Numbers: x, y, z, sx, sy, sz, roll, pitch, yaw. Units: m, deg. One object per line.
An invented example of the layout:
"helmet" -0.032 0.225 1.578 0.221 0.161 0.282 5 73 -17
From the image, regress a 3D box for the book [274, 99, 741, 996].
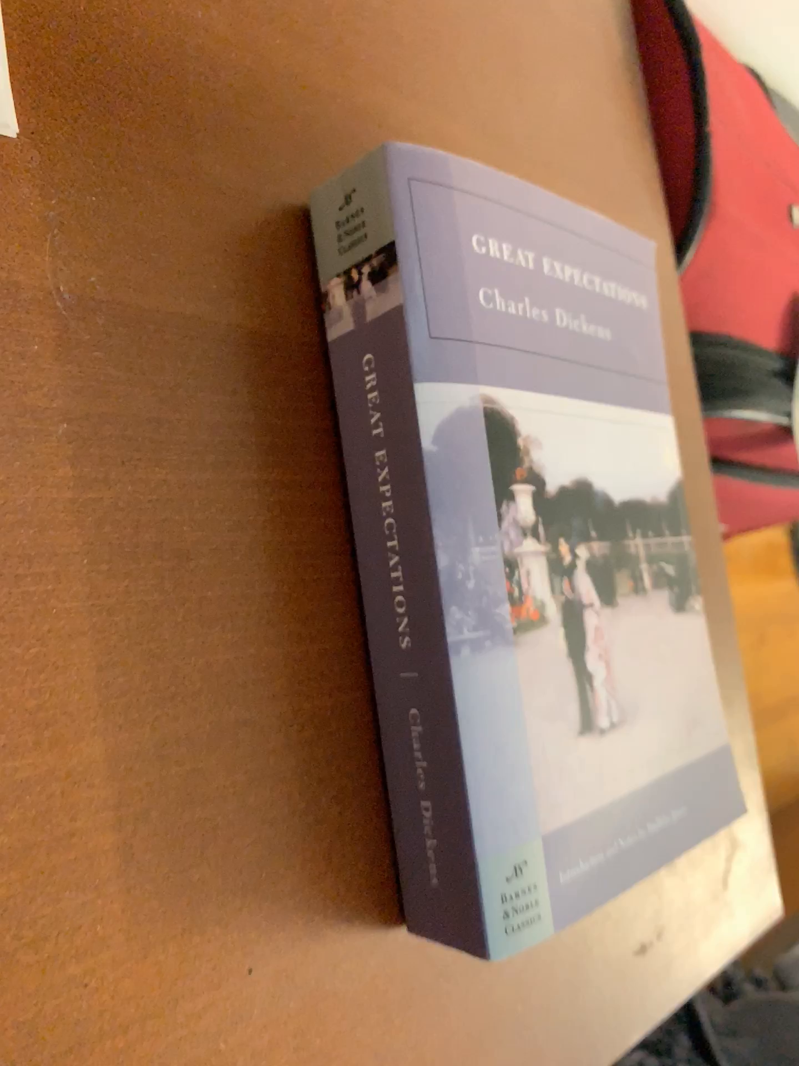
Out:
"book" 0.041 -0.001 0.250 0.141 0.040 0.200 -3 85 -47
